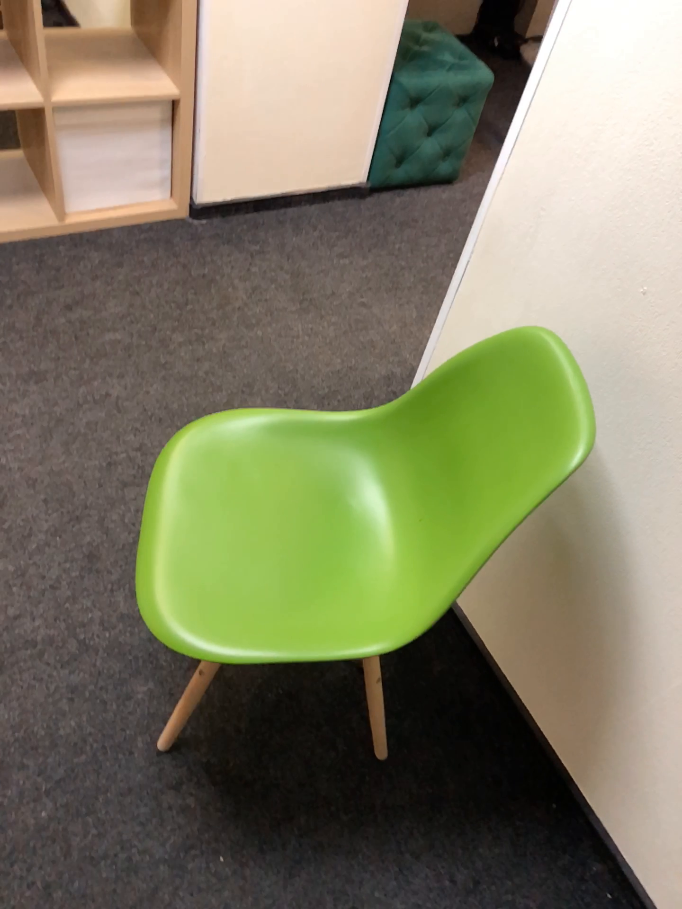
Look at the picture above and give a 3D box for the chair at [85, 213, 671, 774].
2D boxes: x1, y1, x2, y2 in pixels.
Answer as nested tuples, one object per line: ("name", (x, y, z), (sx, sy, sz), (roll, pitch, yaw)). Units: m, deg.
("chair", (-0.014, 0.119, 1.138), (0.580, 0.707, 0.482), (6, 50, -8))
